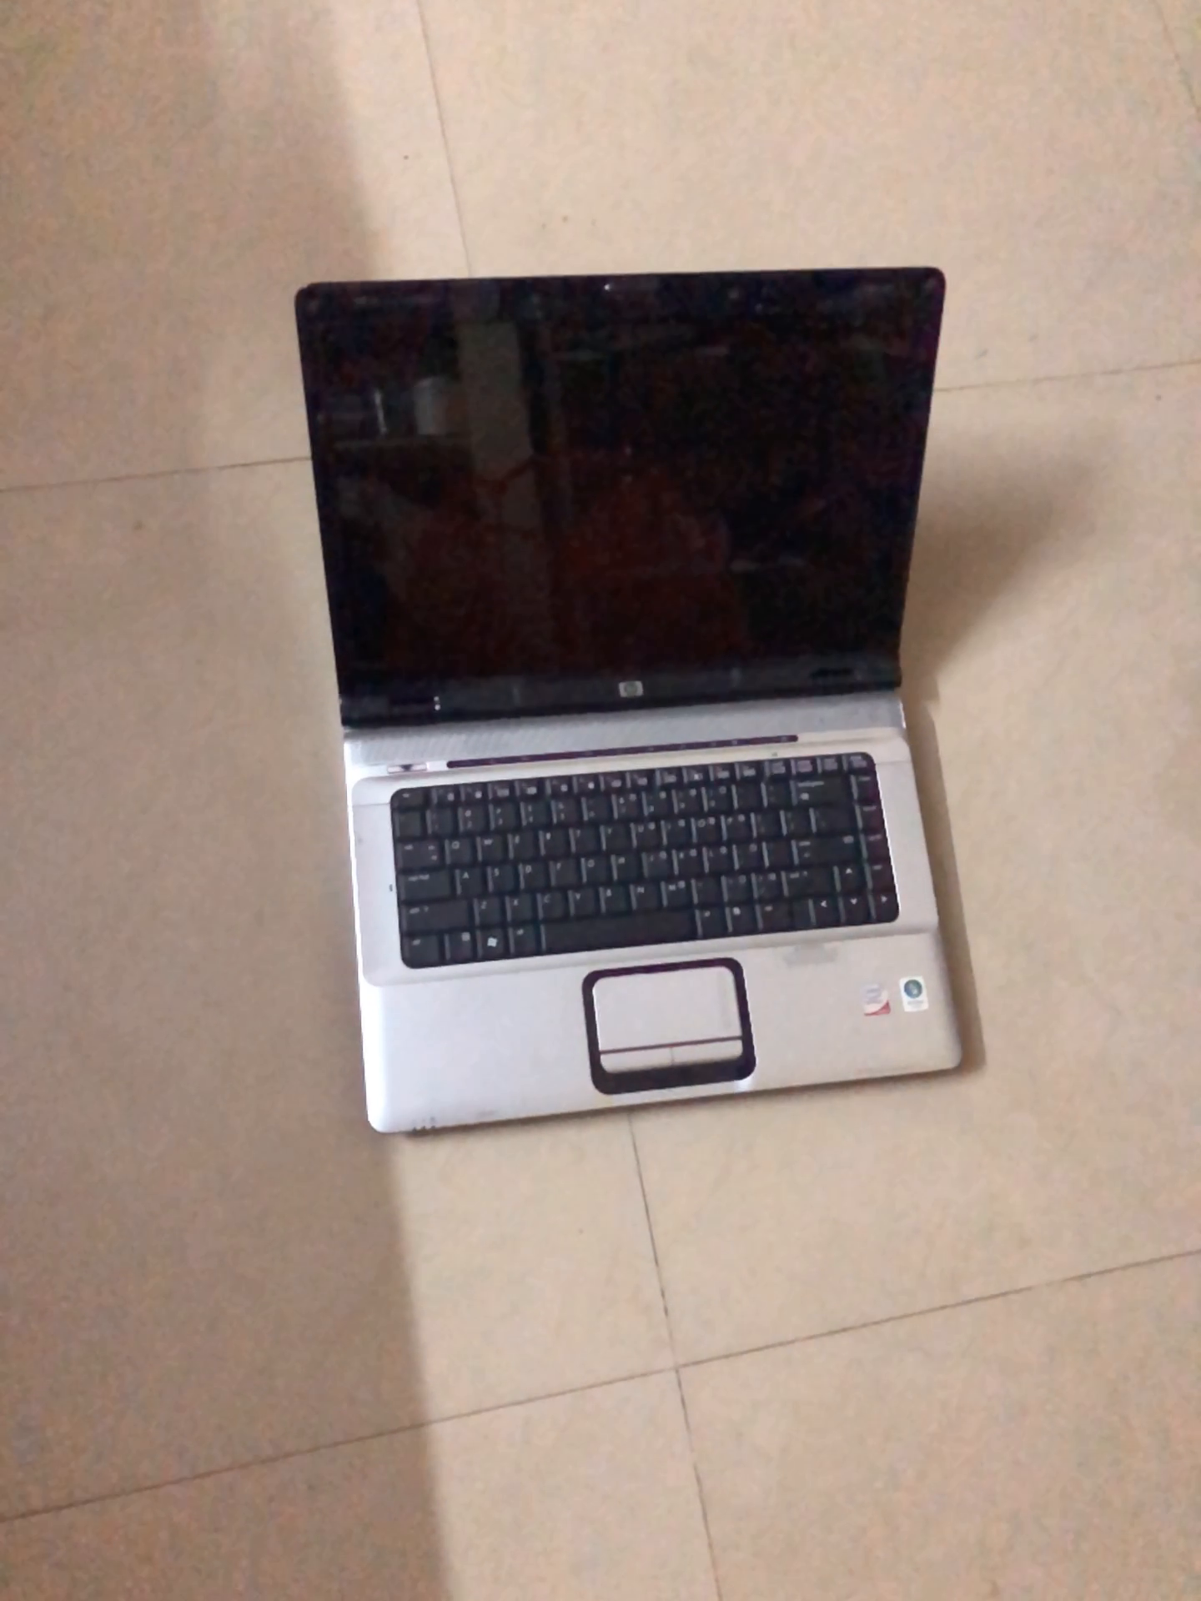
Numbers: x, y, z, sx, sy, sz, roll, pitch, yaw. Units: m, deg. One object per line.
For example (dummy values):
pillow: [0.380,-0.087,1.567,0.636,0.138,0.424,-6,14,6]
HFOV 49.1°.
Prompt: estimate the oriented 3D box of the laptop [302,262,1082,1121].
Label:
laptop: [0.029,-0.056,0.717,0.338,0.167,0.409,-4,77,-8]
